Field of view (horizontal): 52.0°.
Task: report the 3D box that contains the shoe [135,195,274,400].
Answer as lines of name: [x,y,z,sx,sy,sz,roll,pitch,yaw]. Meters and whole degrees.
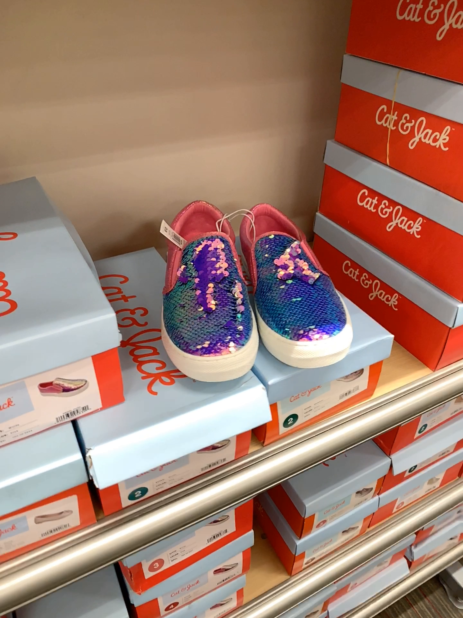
shoe: [-0.036,-0.025,0.449,0.100,0.074,0.211,-5,39,-8]

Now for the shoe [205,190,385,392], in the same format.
shoe: [0.045,-0.031,0.458,0.090,0.074,0.211,-10,40,-14]
